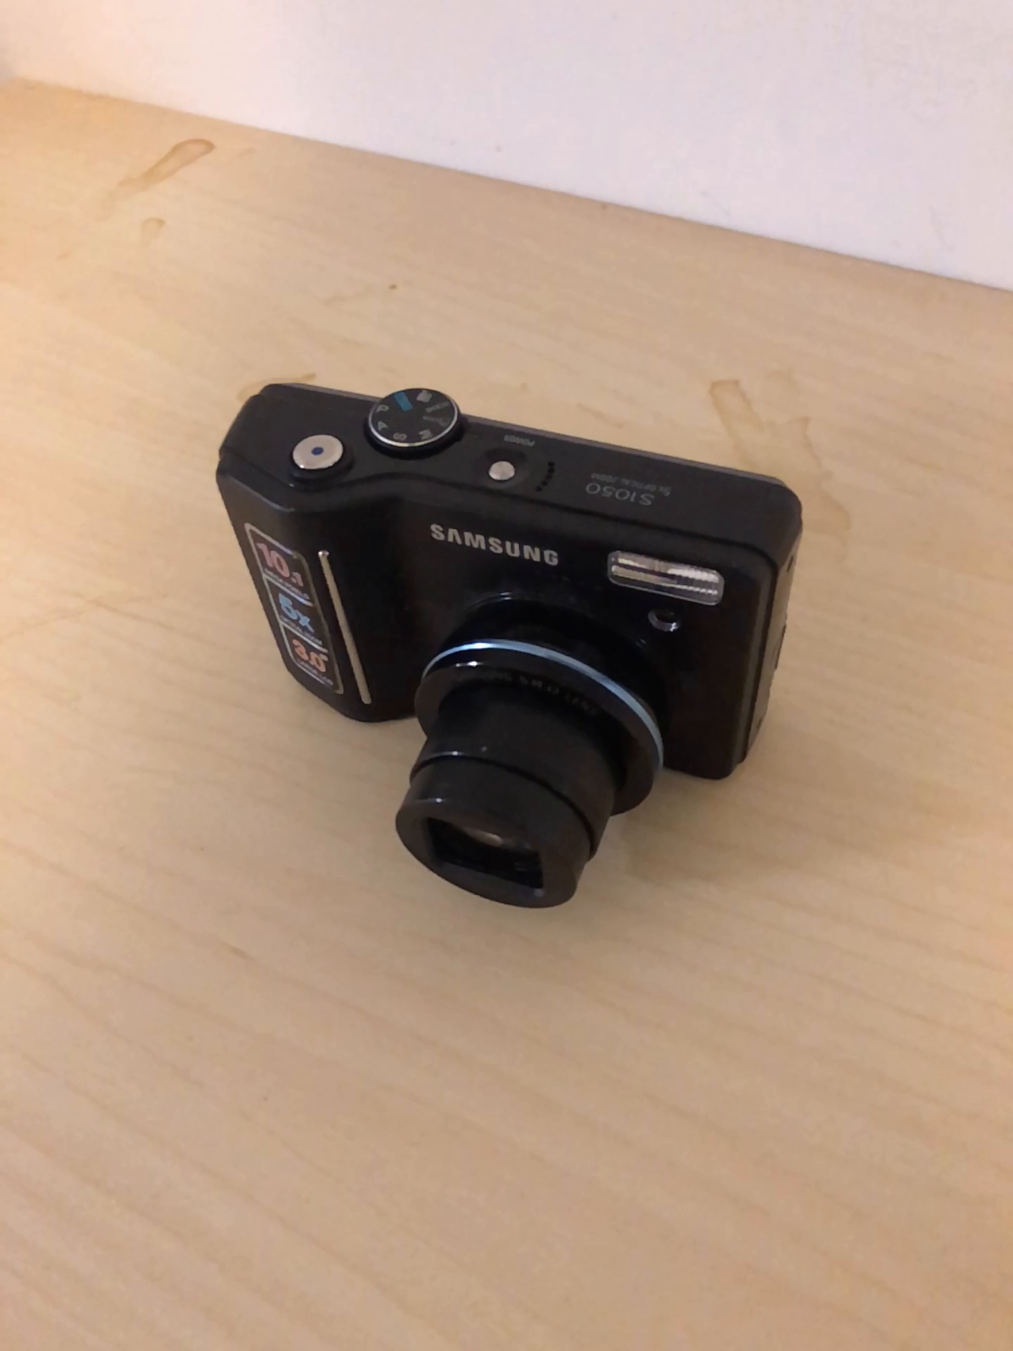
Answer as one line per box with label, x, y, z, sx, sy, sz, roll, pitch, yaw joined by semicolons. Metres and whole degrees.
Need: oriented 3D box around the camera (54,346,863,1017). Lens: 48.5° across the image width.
camera;-0.004;-0.001;0.206;0.110;0.070;0.070;15;57;16
